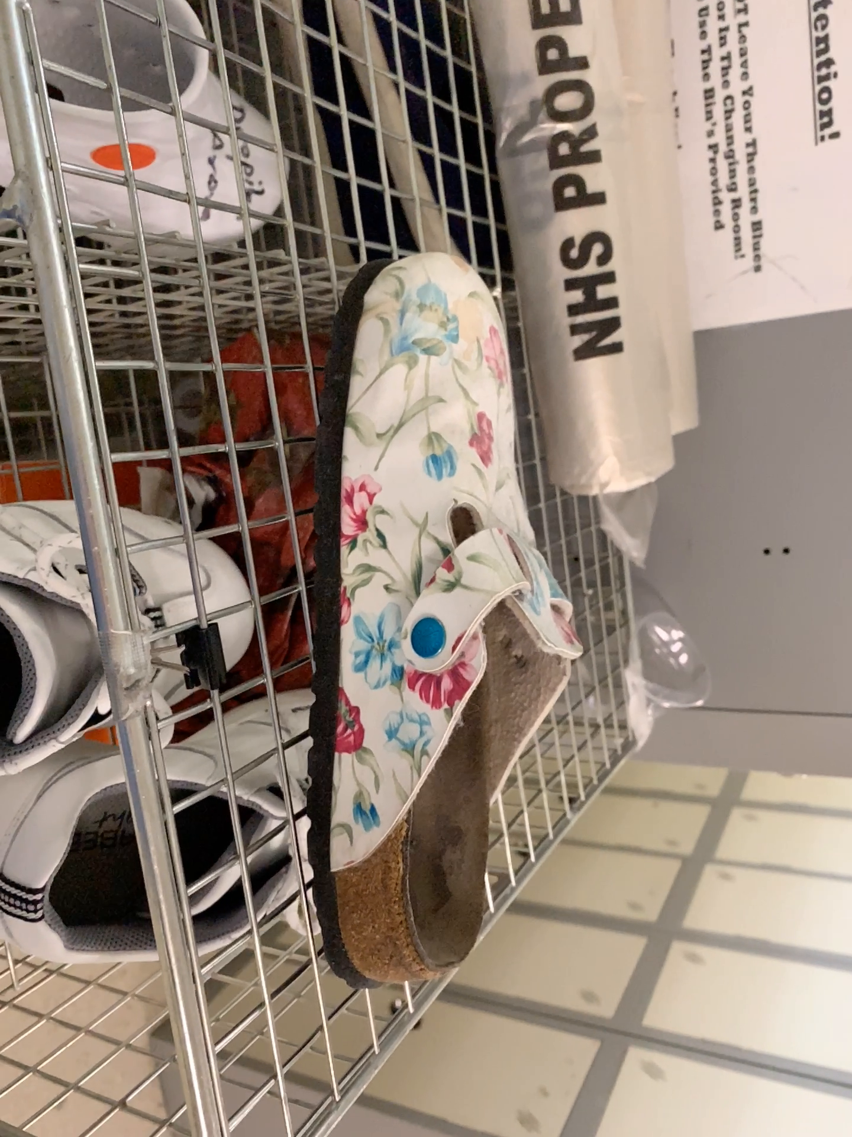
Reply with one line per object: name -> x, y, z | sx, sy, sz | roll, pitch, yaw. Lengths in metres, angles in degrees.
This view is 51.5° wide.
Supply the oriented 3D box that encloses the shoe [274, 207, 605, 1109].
shoe -> 0.012, 0.025, 0.315 | 0.101, 0.070, 0.259 | 12, 78, -59
